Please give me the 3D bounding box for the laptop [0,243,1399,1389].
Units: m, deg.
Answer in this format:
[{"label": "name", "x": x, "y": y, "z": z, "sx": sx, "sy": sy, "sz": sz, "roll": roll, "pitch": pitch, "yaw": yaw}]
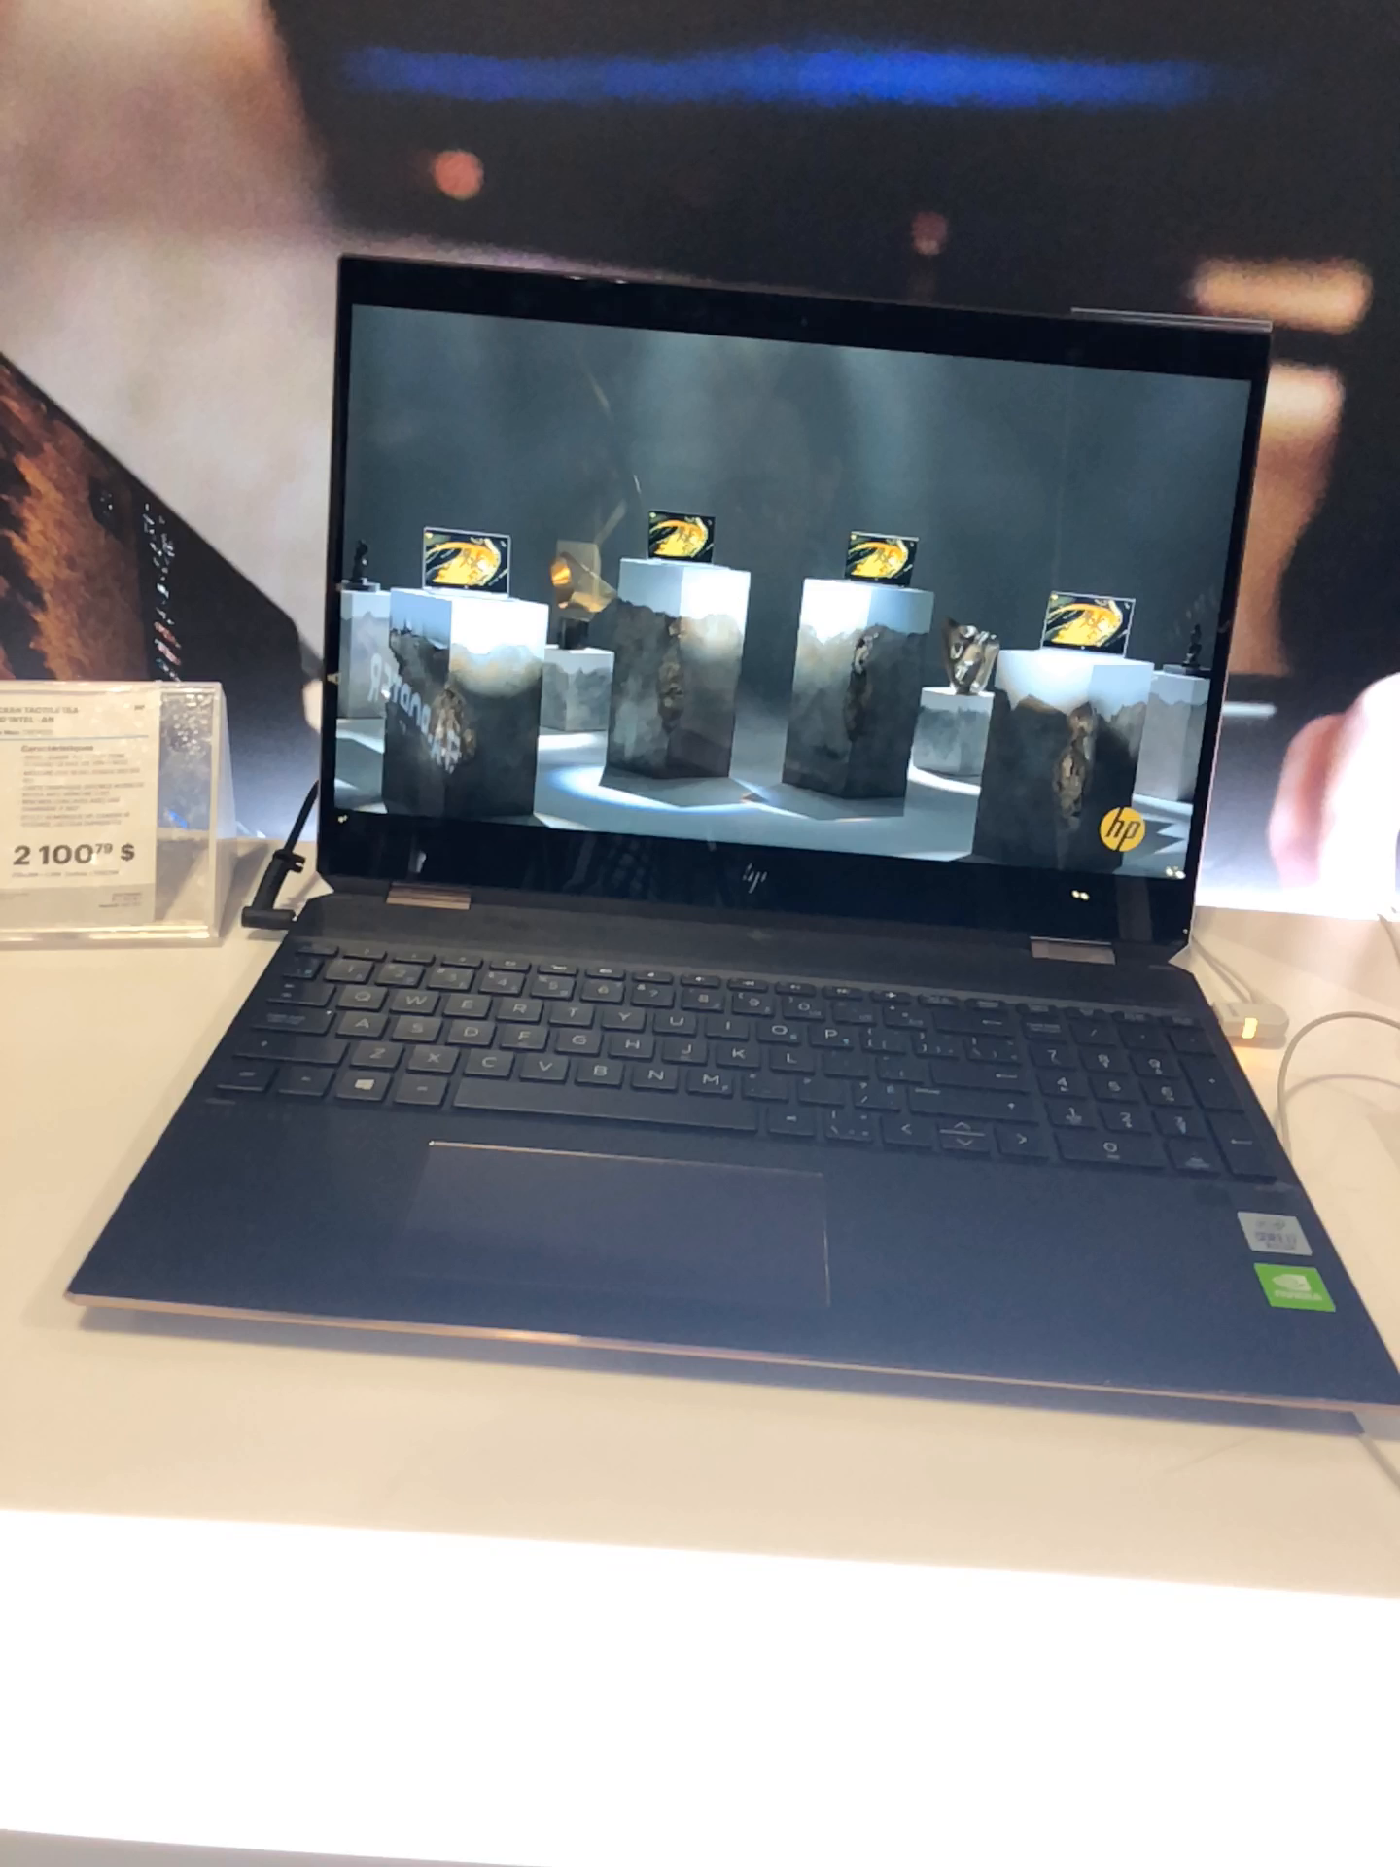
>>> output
[{"label": "laptop", "x": 0.022, "y": -0.070, "z": 0.482, "sx": 0.332, "sy": 0.226, "sz": 0.323, "roll": 5, "pitch": 26, "yaw": -2}]
